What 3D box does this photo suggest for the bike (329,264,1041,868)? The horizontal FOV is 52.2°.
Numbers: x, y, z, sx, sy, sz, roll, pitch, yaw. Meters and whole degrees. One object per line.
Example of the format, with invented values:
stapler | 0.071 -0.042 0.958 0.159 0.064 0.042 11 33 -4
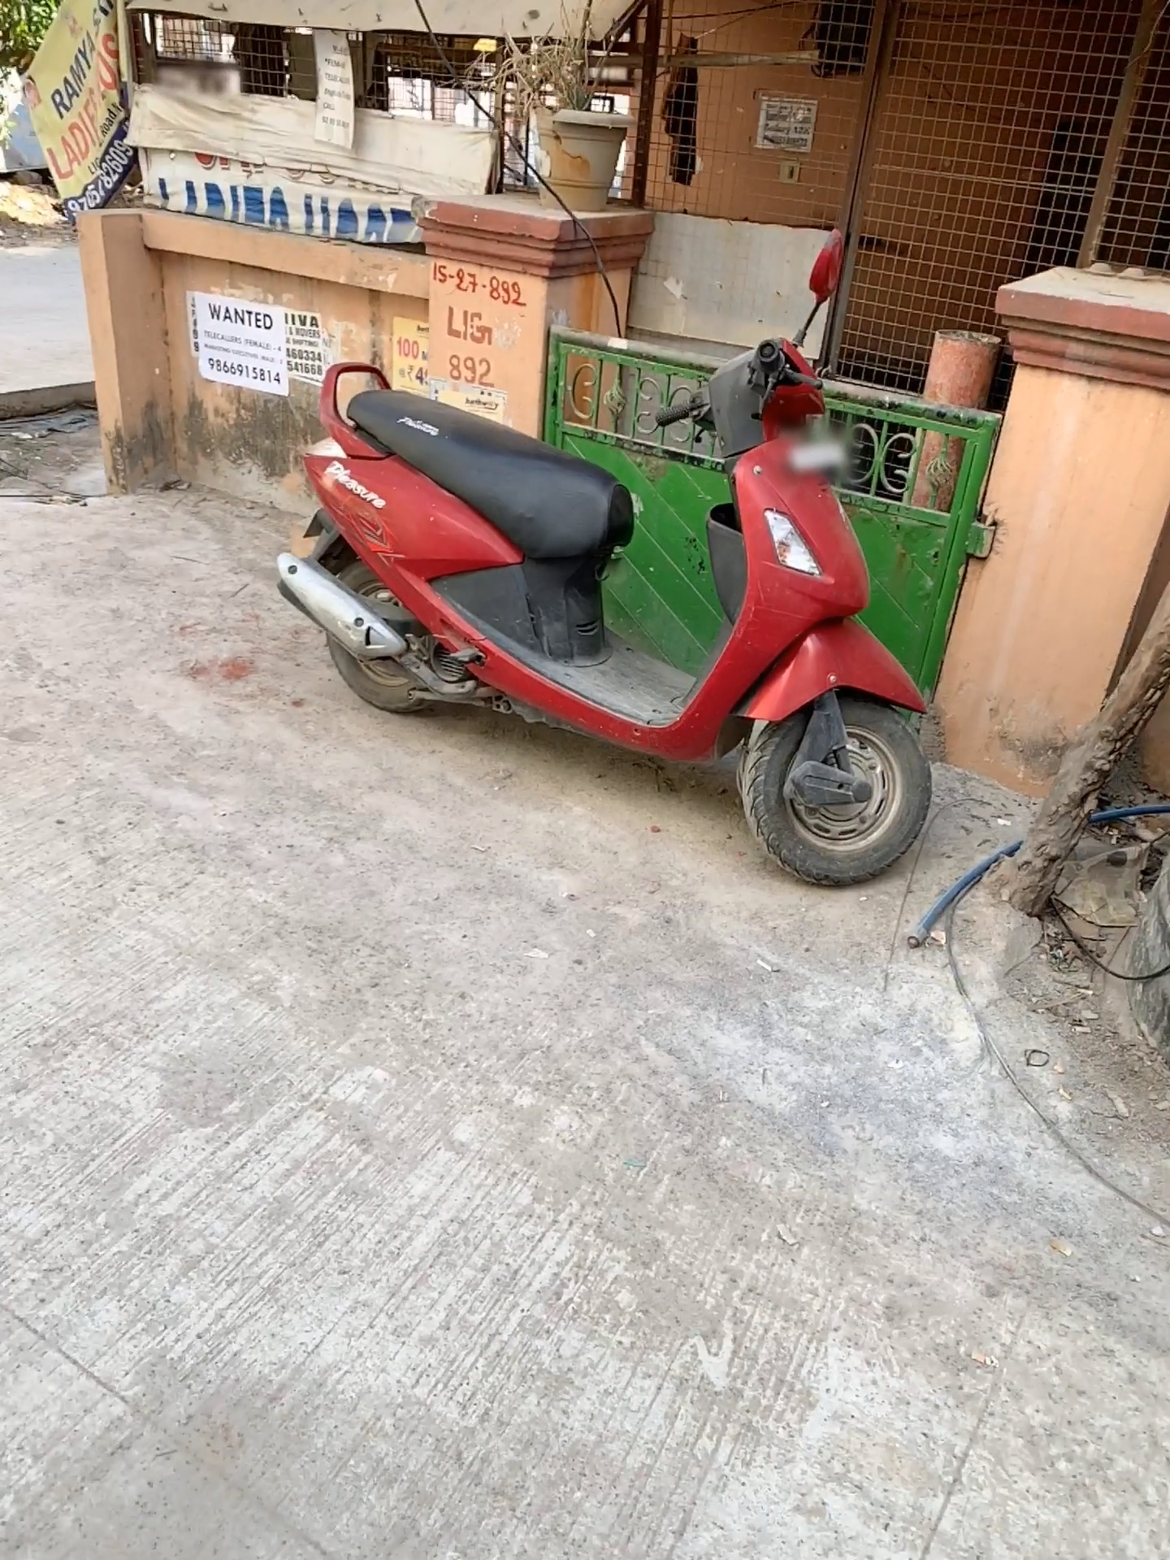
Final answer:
bike | 0.180 -0.525 2.621 1.272 0.916 0.620 17 32 19
